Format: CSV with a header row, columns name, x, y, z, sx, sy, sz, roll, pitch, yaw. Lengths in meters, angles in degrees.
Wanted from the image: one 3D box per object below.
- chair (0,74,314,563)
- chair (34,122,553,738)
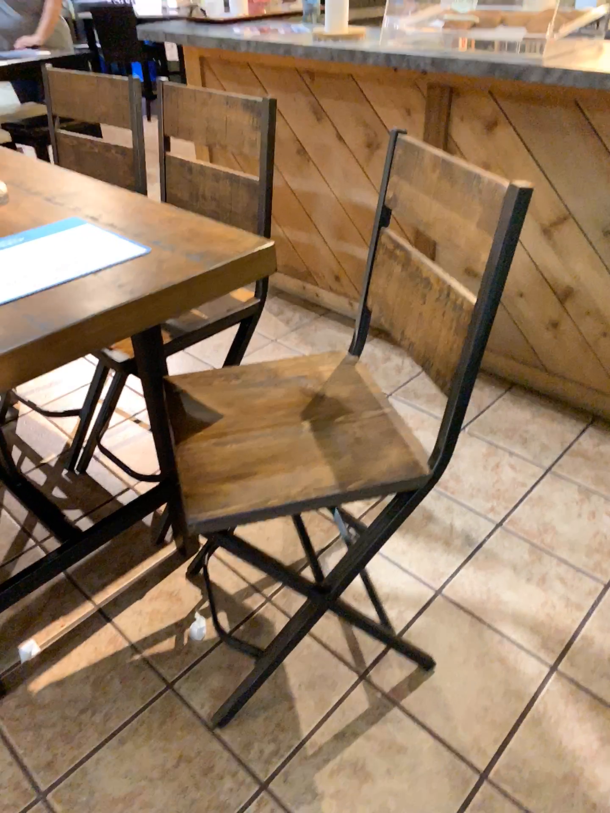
name,x,y,z,sx,sy,sz,roll,pitch,yaw
chair,-0.385,-0.233,1.622,0.494,1.002,0.617,29,48,35
chair,-0.004,0.070,1.172,0.615,0.983,0.444,-12,35,-8
